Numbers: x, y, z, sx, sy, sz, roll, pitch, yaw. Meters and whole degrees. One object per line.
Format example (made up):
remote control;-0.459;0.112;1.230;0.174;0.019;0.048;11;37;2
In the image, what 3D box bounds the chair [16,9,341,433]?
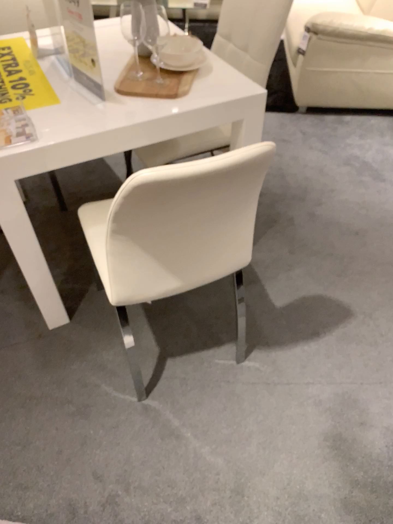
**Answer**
chair;-0.098;-0.075;1.183;0.479;0.955;0.649;-16;49;-14
